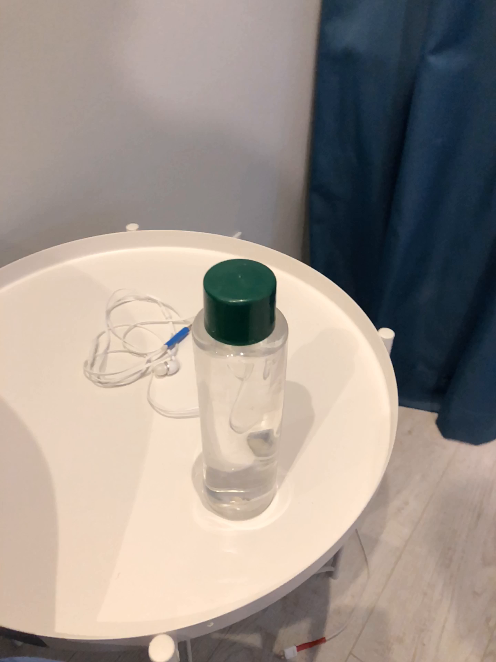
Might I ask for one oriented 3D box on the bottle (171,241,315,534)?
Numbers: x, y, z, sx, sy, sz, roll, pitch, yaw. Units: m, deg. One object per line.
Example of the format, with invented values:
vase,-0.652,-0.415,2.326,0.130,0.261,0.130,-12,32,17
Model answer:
bottle,-0.004,0.047,0.354,0.059,0.199,0.052,-19,45,-21
